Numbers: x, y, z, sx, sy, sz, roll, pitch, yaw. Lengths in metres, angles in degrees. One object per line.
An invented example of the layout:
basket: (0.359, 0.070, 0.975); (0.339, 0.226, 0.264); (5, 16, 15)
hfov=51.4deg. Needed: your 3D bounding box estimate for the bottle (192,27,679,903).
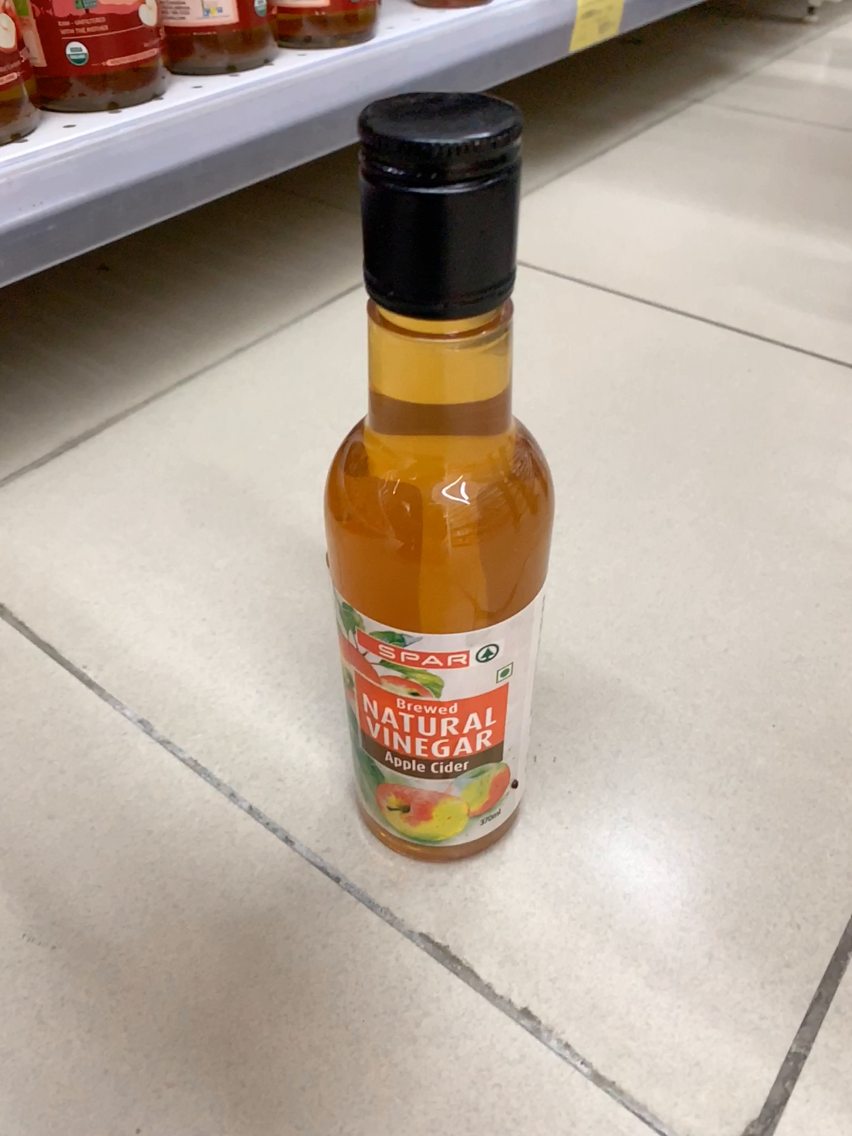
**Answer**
bottle: (0.008, -0.003, 0.225); (0.070, 0.219, 0.060); (10, 44, 12)
